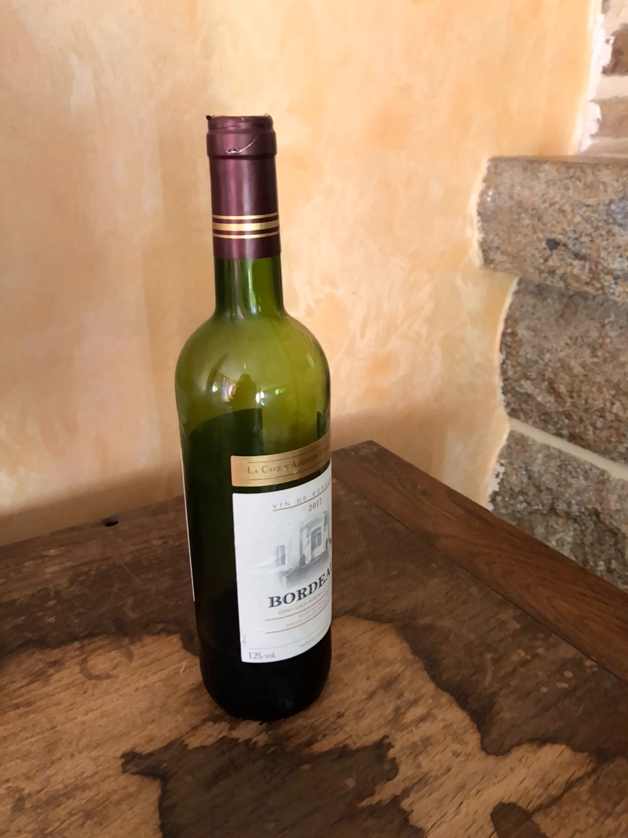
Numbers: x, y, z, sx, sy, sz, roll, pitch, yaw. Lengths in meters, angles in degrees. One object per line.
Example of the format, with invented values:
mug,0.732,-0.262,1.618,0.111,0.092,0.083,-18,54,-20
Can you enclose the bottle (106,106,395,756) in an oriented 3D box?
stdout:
bottle,-0.025,0.007,0.339,0.080,0.289,0.091,14,25,30
